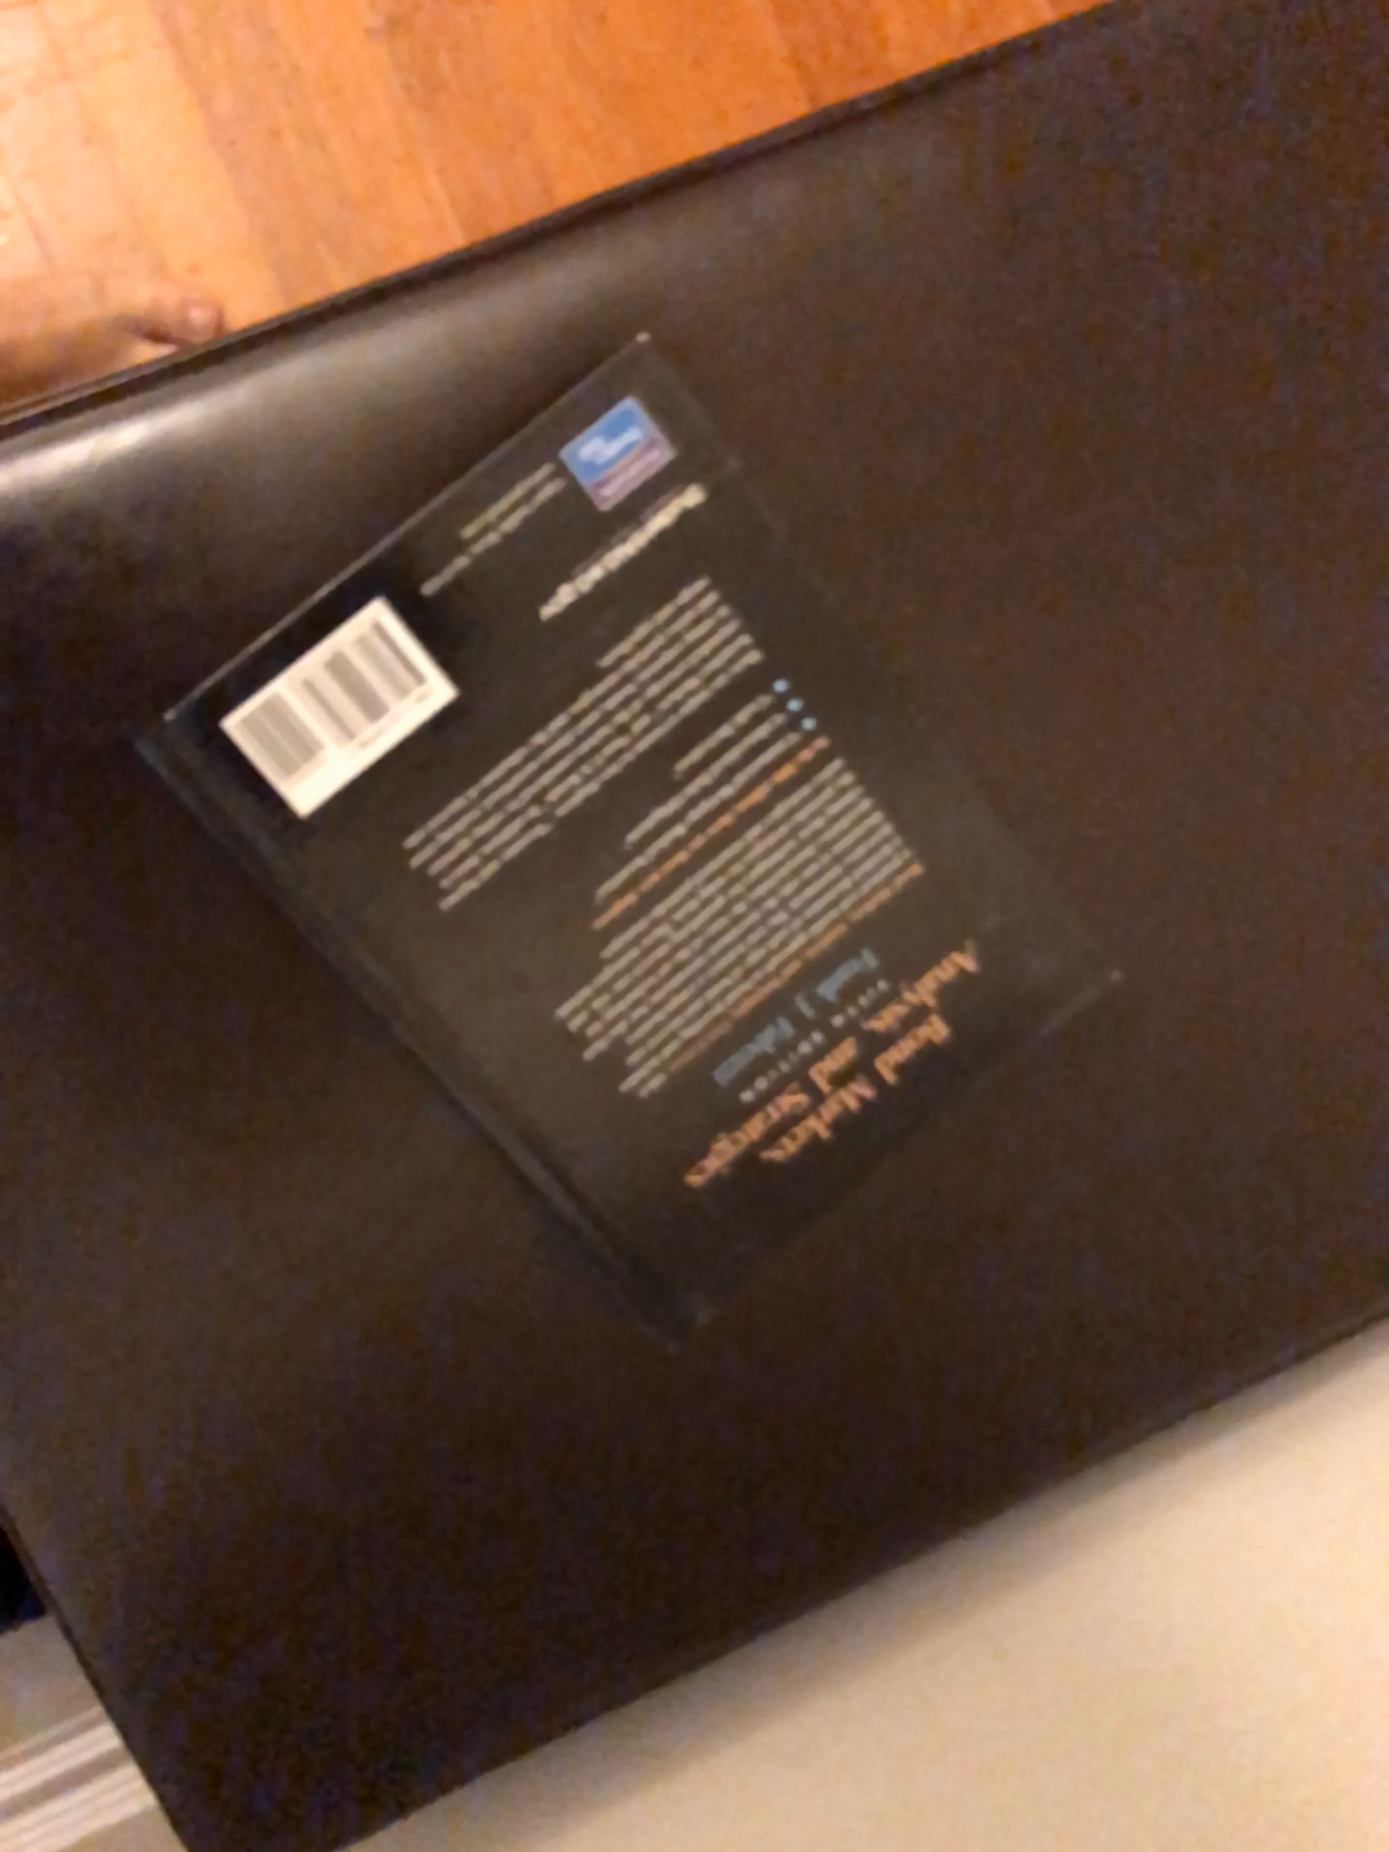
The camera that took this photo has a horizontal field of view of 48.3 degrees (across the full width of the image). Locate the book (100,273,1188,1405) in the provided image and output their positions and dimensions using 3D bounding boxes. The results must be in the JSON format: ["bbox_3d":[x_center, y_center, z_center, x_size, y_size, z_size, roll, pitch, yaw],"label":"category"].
[{"bbox_3d":[-0.006,-0.020,0.469,0.200,0.040,0.260,-39,102,-4],"label":"book"}]
